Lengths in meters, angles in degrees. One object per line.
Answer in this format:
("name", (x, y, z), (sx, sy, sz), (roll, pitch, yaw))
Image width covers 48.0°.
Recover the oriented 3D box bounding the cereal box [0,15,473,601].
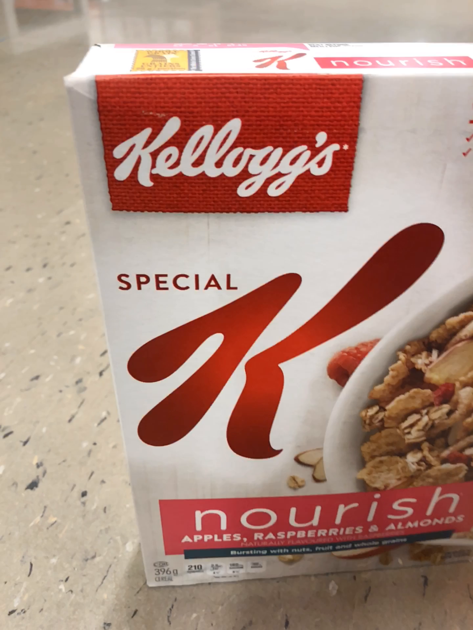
("cereal box", (0.041, 0.031, 0.244), (0.210, 0.289, 0.050), (-2, 38, -5))
